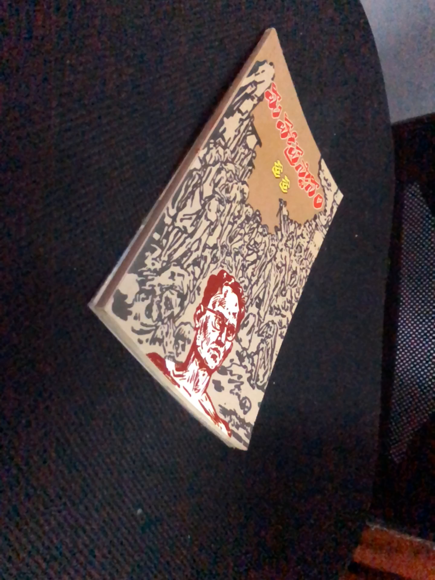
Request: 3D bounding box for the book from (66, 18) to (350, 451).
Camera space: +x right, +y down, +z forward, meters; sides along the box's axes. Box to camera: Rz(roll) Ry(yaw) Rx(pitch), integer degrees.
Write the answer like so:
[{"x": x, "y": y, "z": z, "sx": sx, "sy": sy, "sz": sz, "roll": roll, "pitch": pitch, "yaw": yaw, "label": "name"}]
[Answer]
[{"x": 0.021, "y": -0.035, "z": 0.293, "sx": 0.141, "sy": 0.018, "sz": 0.221, "roll": 53, "pitch": 54, "yaw": -41, "label": "book"}]
